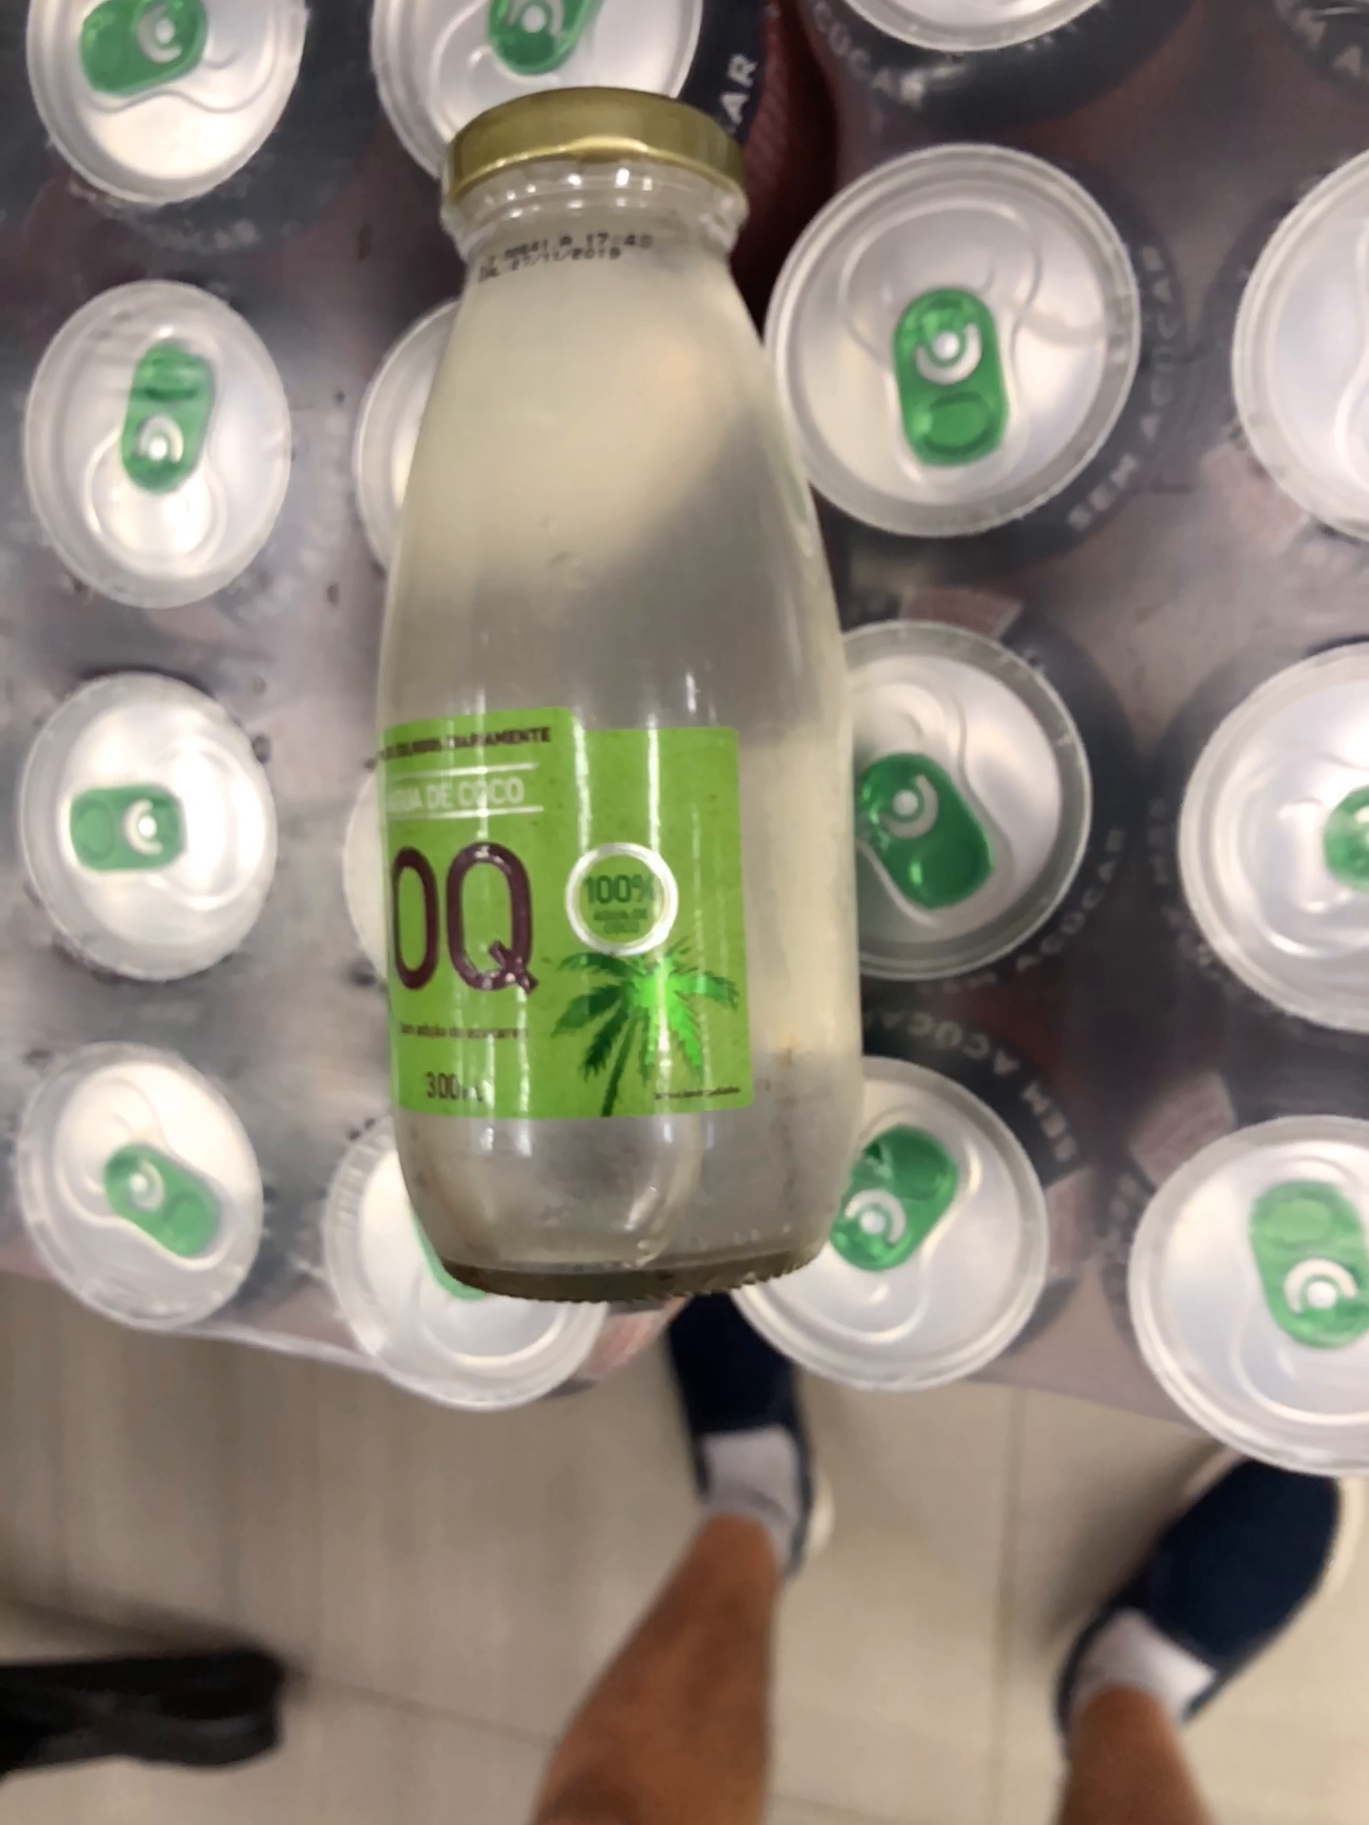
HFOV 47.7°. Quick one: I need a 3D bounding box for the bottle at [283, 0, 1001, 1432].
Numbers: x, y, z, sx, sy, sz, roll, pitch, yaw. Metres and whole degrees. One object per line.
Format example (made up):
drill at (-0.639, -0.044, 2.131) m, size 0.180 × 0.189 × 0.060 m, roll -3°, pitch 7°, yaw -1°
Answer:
bottle at (-0.005, -0.023, 0.204) m, size 0.070 × 0.060 × 0.150 m, roll 3°, pitch 95°, yaw 37°
